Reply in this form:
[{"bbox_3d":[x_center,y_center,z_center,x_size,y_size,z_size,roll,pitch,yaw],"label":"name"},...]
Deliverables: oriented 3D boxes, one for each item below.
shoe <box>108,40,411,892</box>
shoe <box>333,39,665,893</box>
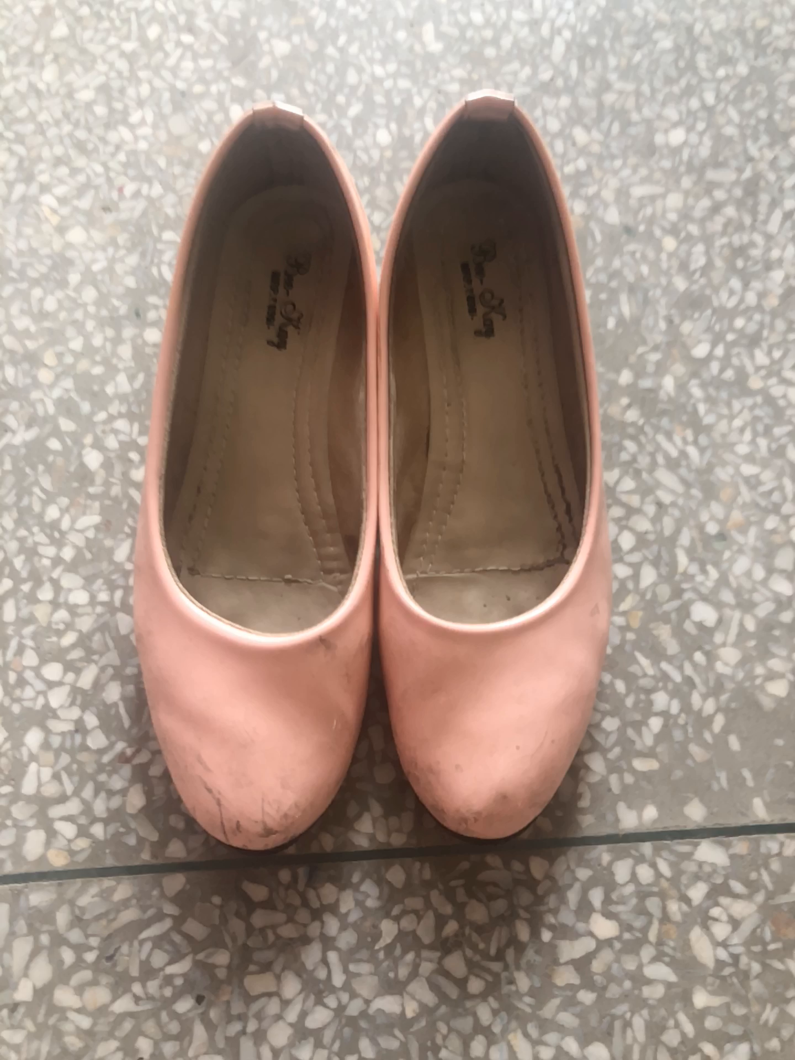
[{"bbox_3d":[-0.042,-0.021,0.305,0.090,0.070,0.260,0,87,-1],"label":"shoe"},{"bbox_3d":[0.026,-0.024,0.297,0.090,0.070,0.260,0,80,-1],"label":"shoe"}]
